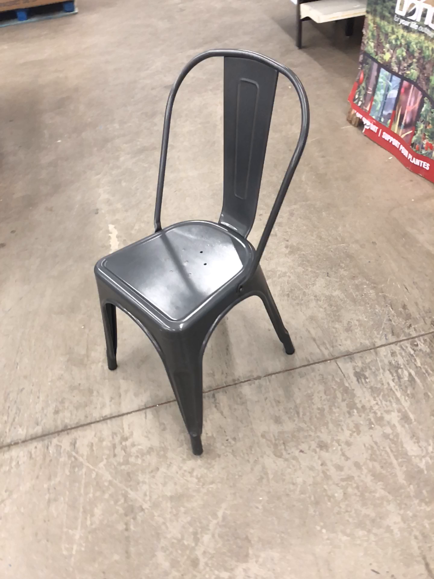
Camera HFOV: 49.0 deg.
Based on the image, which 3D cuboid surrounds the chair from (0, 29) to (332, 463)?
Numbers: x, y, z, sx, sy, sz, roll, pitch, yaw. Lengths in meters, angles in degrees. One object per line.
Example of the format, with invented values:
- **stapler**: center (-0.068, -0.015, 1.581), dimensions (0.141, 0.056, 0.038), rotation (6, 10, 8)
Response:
- **chair**: center (-0.091, -0.090, 1.180), dimensions (0.501, 0.817, 0.481), rotation (-37, 51, -26)
